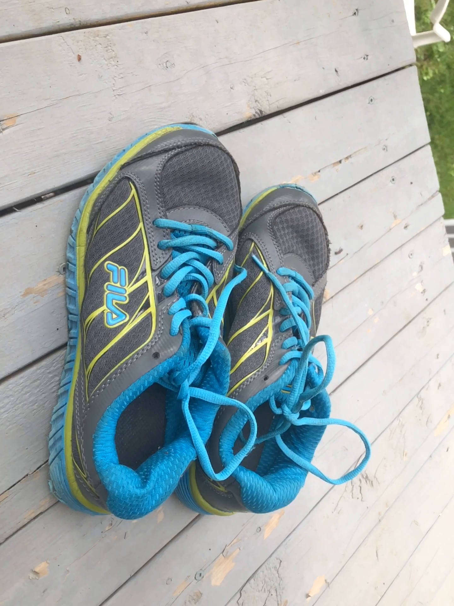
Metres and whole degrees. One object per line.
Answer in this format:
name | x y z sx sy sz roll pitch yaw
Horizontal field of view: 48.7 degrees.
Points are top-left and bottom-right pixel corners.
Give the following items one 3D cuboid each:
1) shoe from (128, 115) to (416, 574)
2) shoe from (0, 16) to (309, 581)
shoe | 0.037 0.029 0.364 0.110 0.090 0.280 22 79 -34
shoe | -0.057 -0.001 0.334 0.110 0.130 0.290 17 82 -35
